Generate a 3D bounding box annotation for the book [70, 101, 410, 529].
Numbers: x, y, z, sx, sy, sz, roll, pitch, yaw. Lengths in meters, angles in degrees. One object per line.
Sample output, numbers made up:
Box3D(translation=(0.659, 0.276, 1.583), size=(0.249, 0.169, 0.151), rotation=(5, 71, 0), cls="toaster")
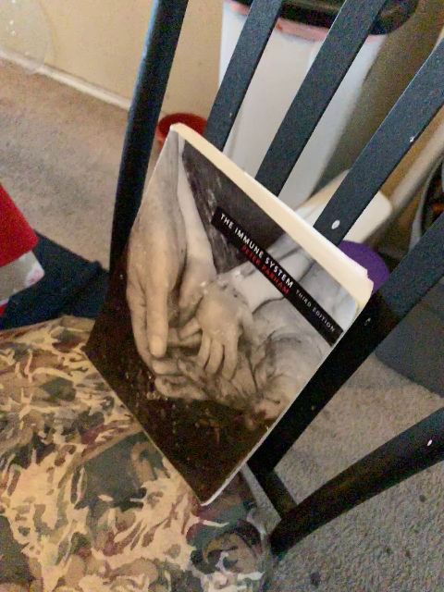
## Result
Box3D(translation=(-0.024, 0.024, 0.379), size=(0.040, 0.269, 0.220), rotation=(-16, 53, -46), cls="book")
